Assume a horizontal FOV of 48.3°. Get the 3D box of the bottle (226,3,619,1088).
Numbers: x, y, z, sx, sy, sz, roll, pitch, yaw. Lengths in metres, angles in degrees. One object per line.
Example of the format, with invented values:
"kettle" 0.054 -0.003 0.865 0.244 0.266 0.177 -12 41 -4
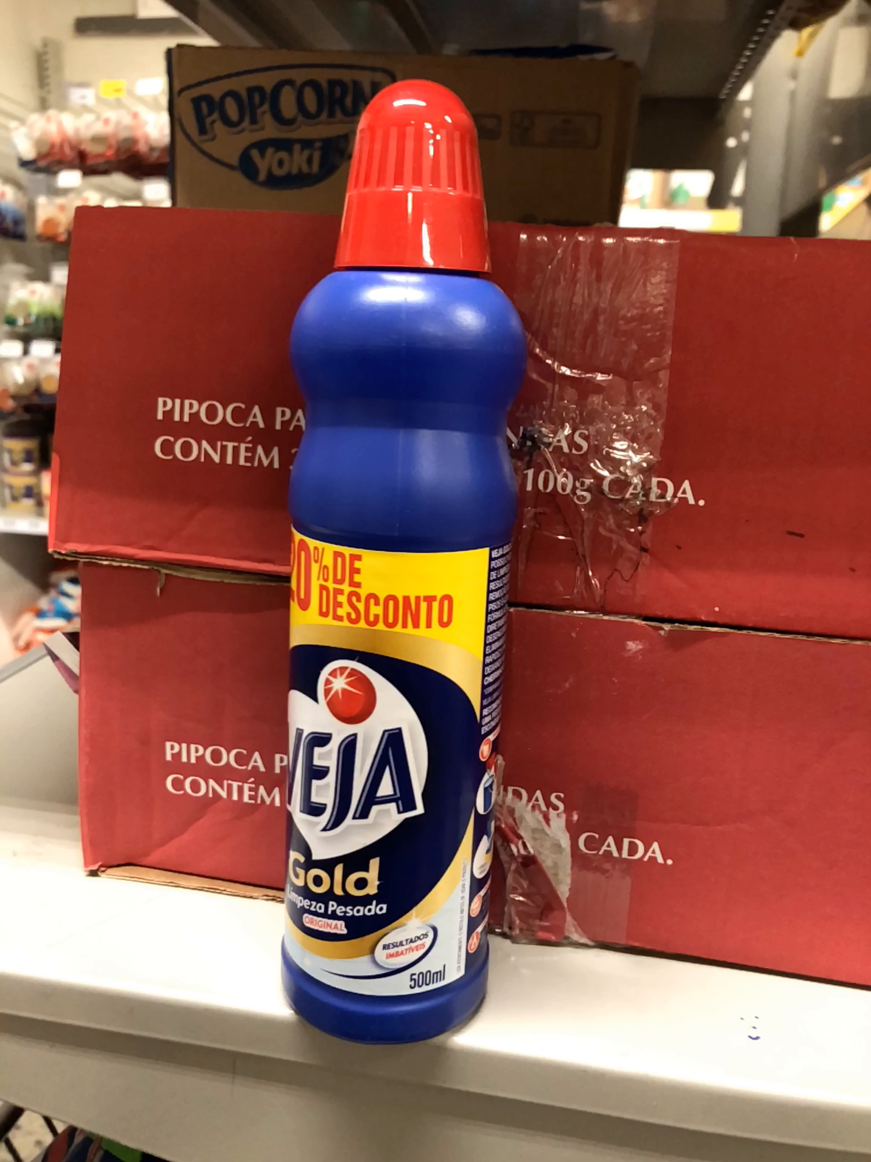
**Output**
"bottle" 0.000 -0.004 0.265 0.070 0.249 0.070 0 13 0
